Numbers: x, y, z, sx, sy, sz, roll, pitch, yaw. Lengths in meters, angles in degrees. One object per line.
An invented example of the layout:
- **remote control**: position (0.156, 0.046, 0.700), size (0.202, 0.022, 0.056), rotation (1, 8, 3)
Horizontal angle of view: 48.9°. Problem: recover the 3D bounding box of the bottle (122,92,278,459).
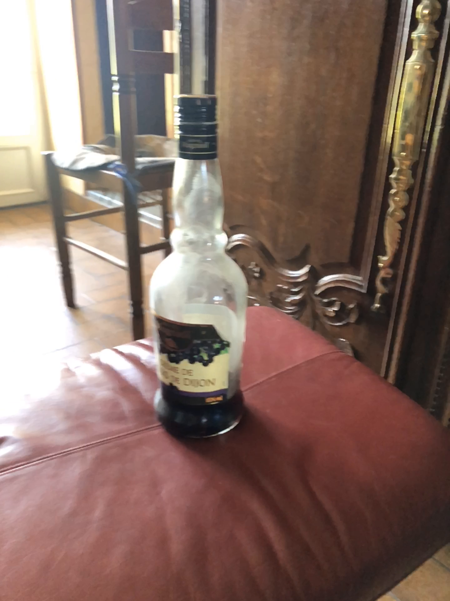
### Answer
- **bottle**: position (-0.018, -0.018, 0.407), size (0.080, 0.278, 0.081), rotation (1, 24, 0)
